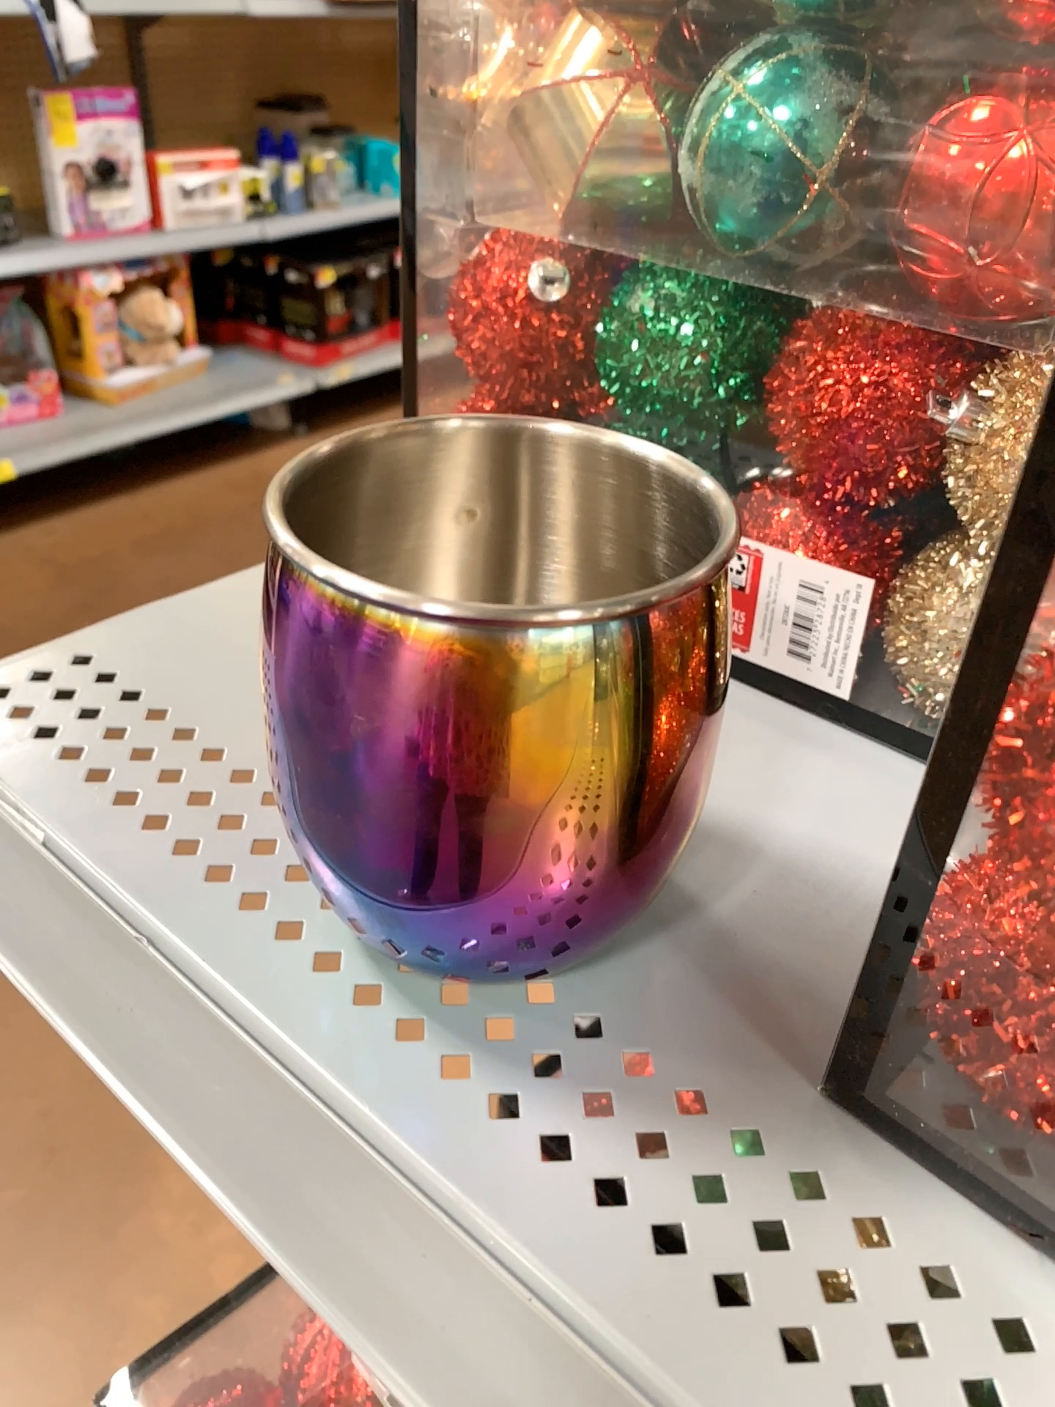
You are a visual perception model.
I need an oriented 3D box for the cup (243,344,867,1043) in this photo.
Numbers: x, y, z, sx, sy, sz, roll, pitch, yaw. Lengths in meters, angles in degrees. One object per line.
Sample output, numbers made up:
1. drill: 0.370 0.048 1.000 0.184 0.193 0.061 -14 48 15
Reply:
1. cup: -0.007 -0.011 0.228 0.087 0.090 0.111 -6 36 -15
